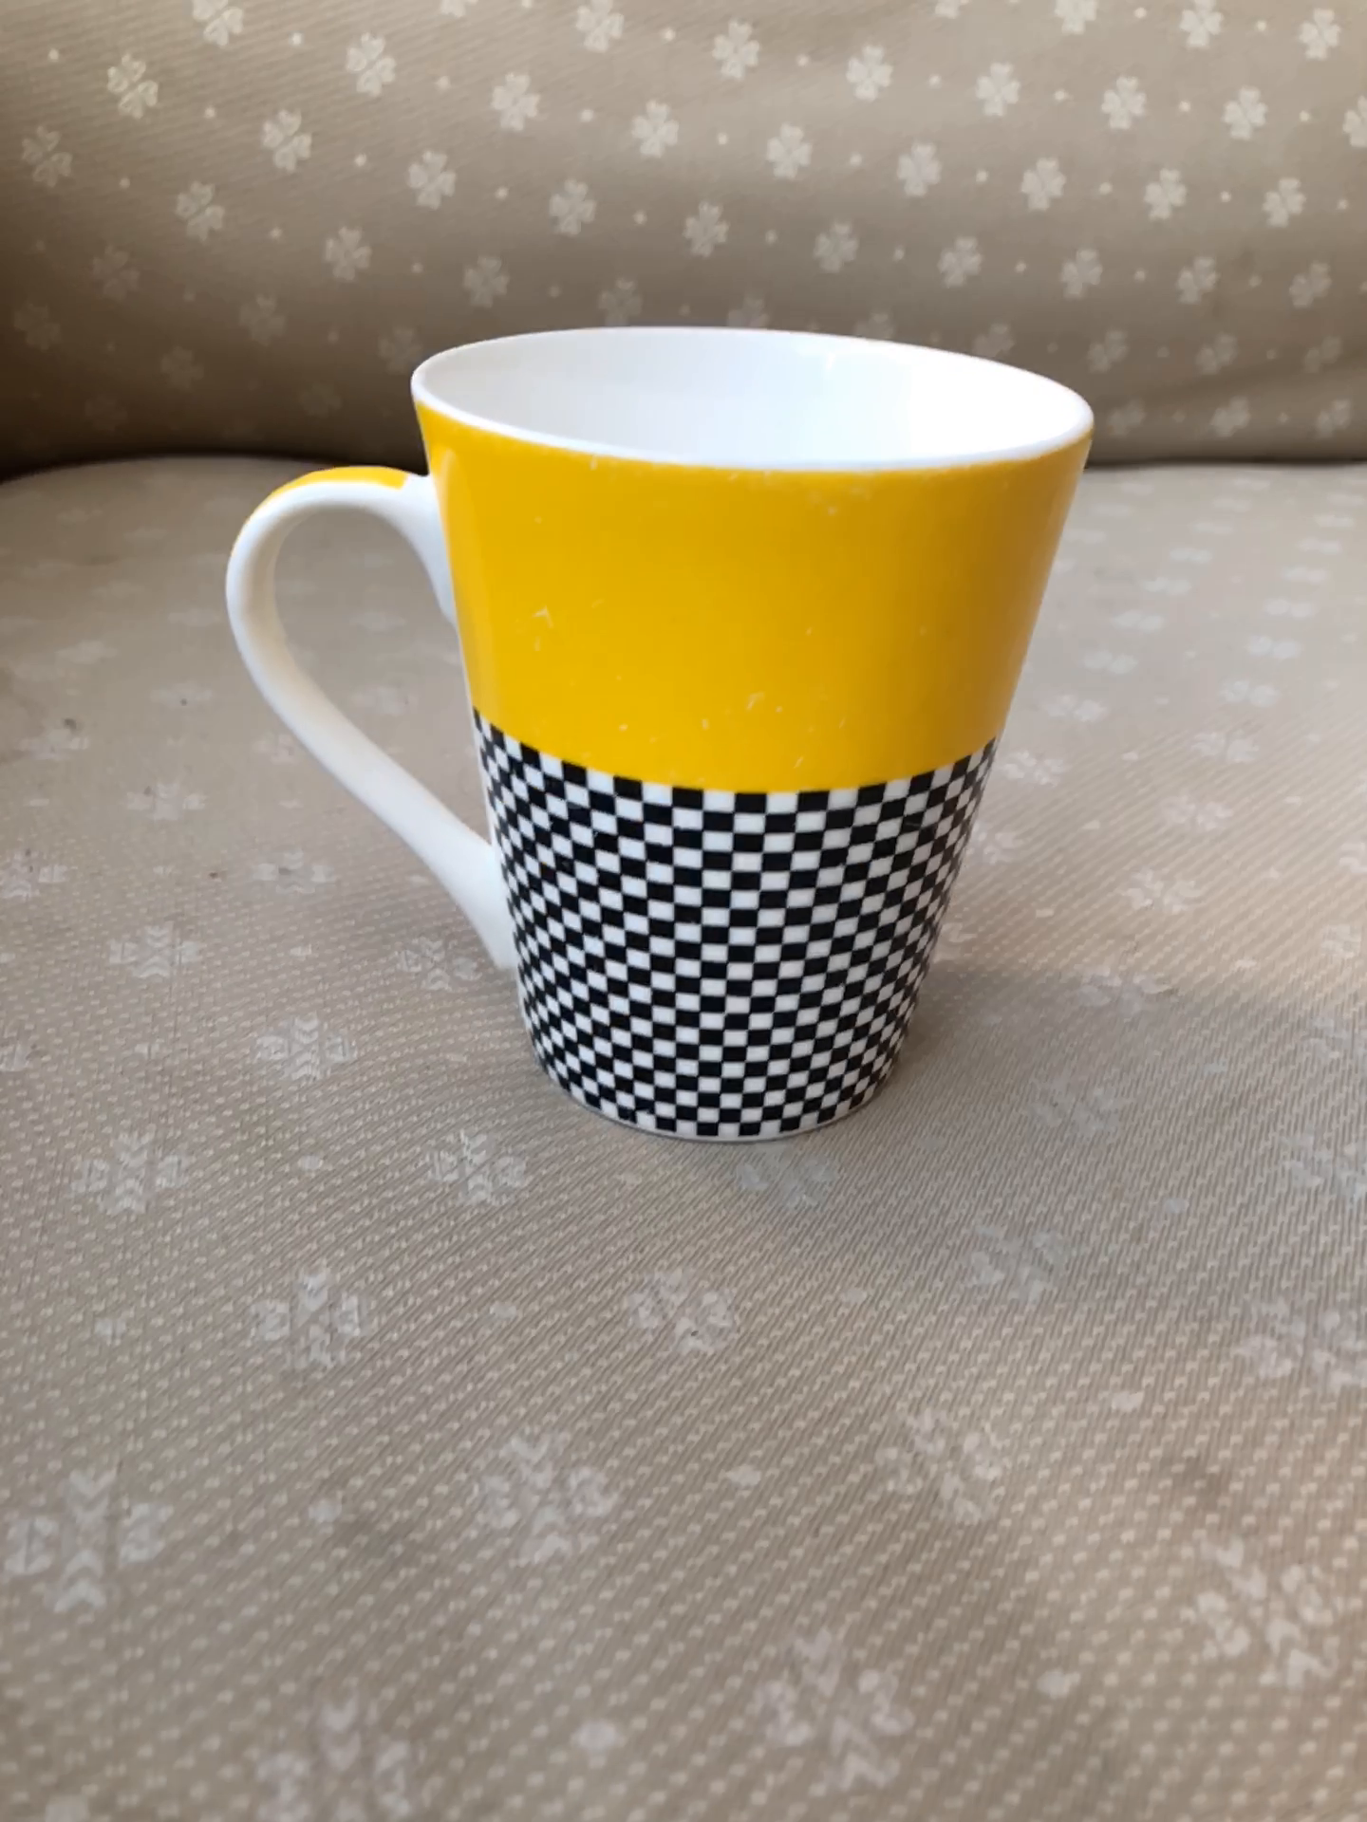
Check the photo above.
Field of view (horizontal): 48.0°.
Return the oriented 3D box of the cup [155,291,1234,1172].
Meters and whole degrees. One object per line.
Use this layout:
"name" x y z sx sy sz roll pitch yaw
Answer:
"cup" -0.001 -0.030 0.218 0.111 0.090 0.088 4 30 -1
